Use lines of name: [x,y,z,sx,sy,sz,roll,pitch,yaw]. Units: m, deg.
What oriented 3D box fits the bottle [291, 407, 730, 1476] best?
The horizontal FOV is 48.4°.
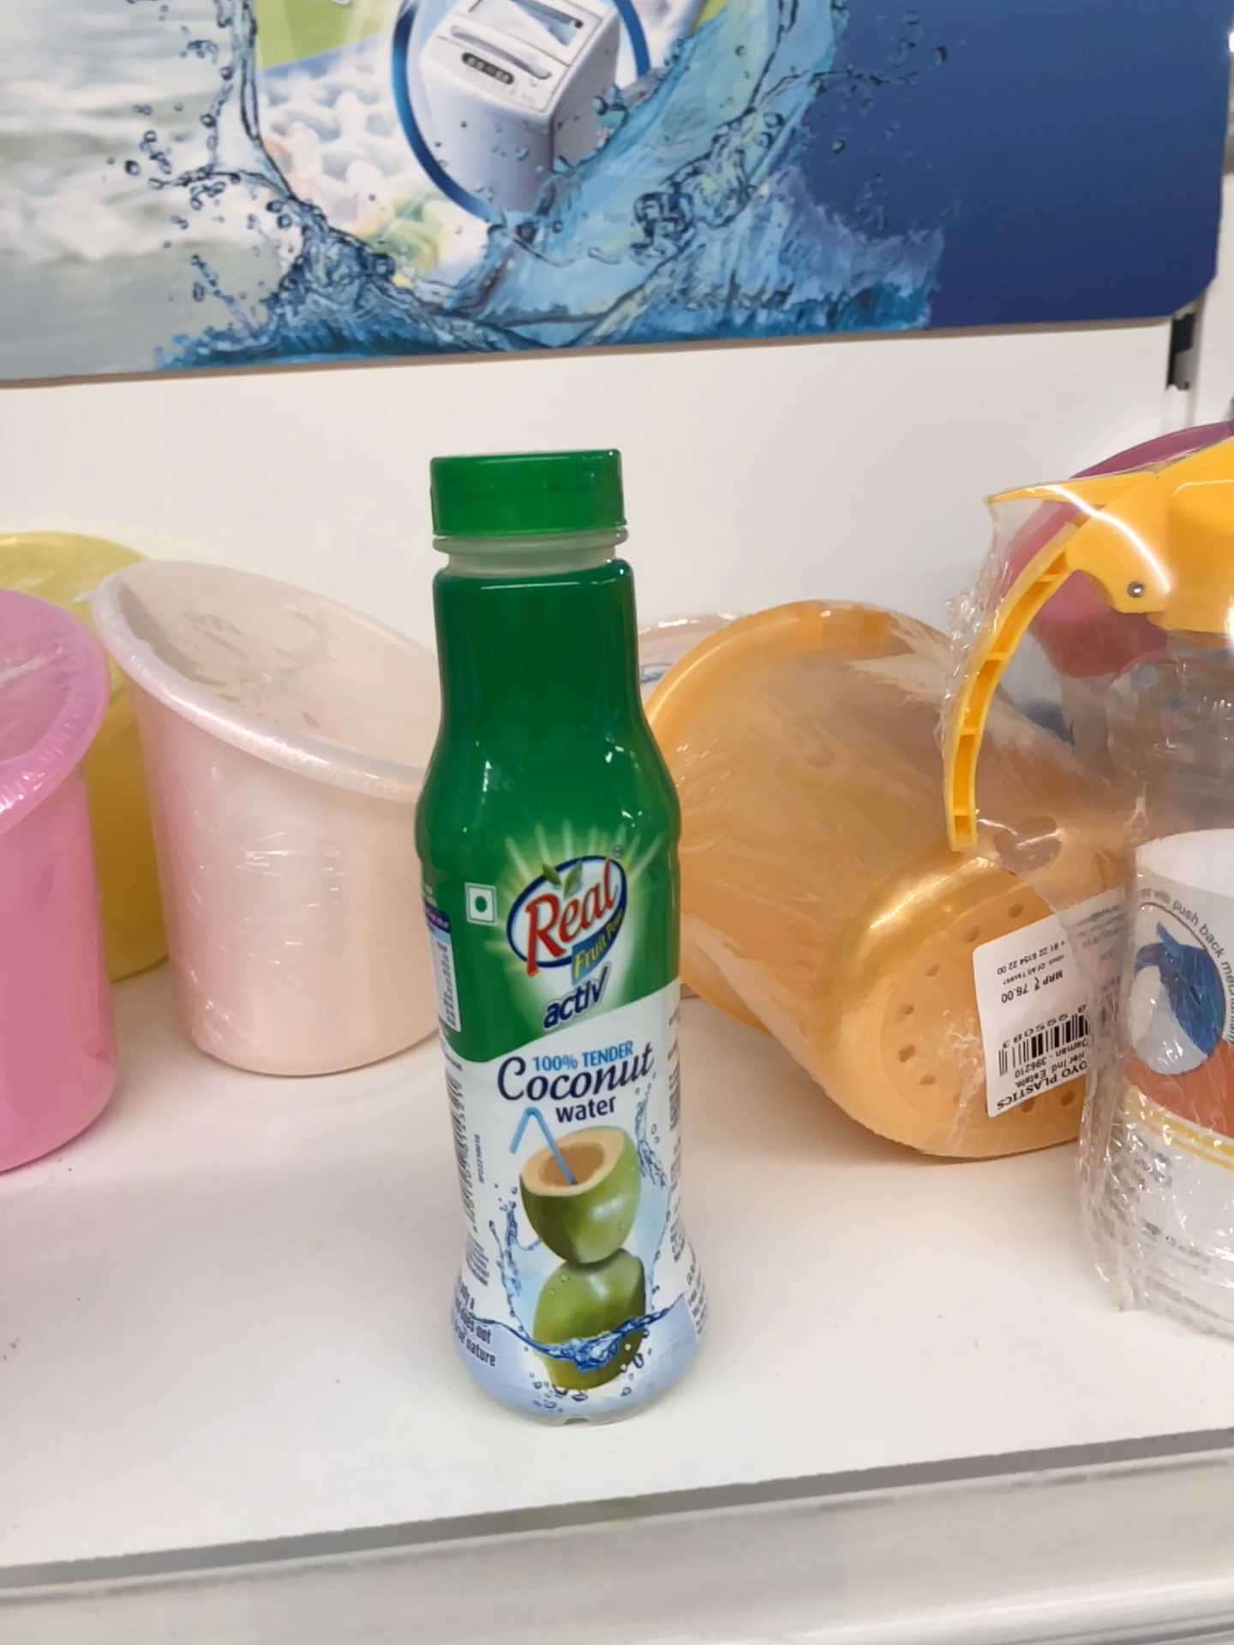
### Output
bottle: [-0.019,0.019,0.252,0.060,0.179,0.060,-2,17,1]
